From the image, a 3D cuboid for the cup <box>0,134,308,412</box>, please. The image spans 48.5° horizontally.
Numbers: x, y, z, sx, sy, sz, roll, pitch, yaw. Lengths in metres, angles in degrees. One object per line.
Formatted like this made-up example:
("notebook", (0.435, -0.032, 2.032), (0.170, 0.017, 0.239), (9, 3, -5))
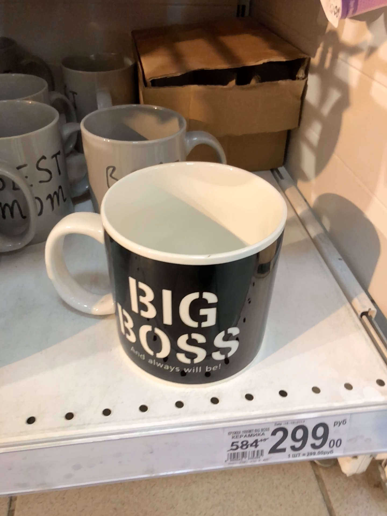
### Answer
("cup", (-0.026, 0.000, 0.329), (0.189, 0.122, 0.128), (13, 39, 14))
